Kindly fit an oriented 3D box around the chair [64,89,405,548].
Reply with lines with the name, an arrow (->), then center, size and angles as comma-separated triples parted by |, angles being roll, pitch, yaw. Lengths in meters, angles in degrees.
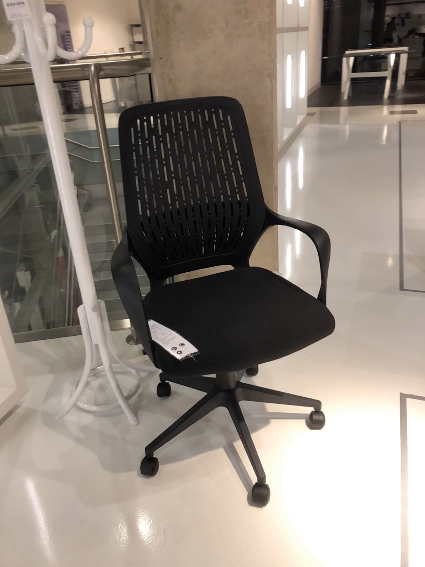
chair -> 0.006, 0.030, 1.376 | 0.640, 1.022, 0.705 | -12, 28, -14
